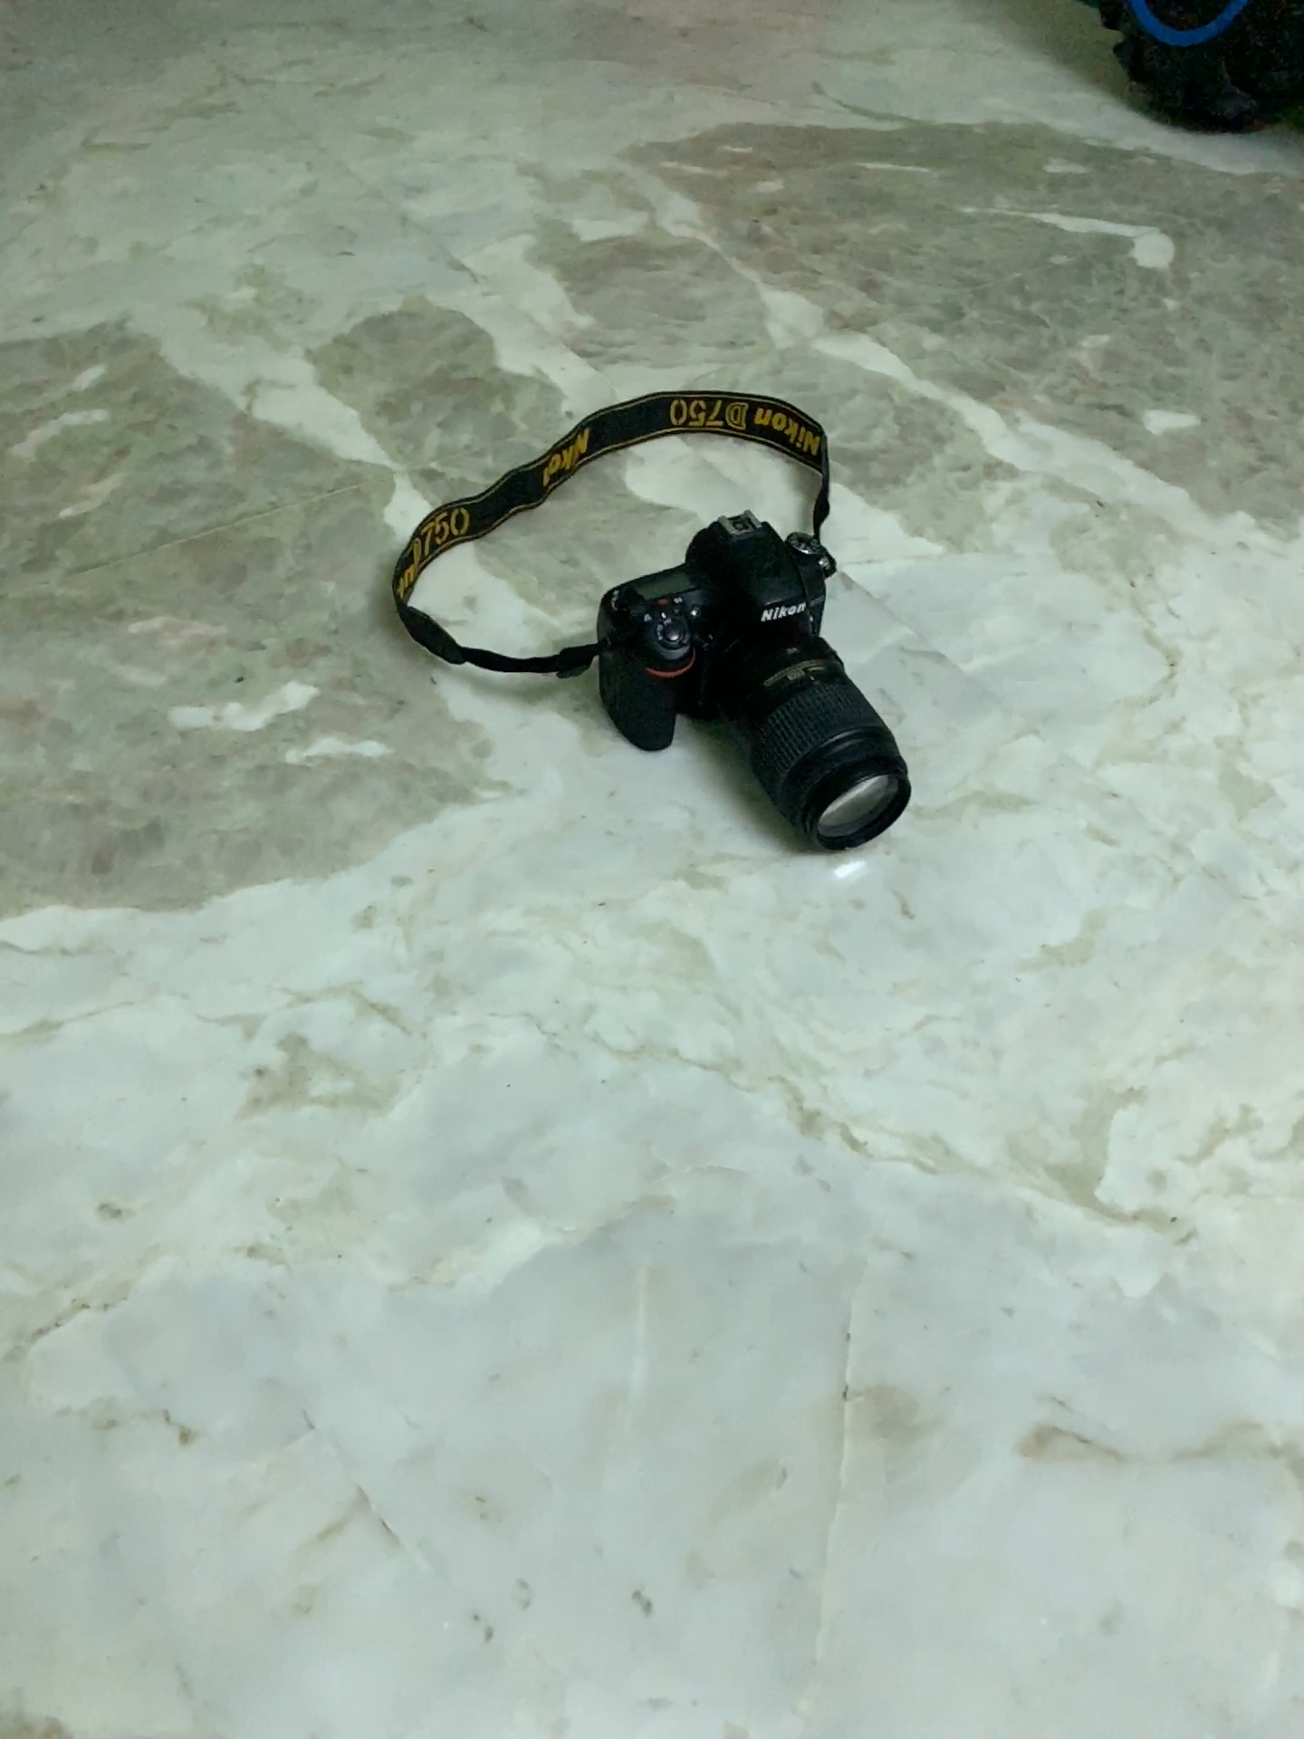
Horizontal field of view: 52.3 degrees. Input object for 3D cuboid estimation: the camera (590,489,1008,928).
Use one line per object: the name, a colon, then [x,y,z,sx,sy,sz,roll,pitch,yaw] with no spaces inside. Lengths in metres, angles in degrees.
camera: [0.072,-0.099,0.767,0.150,0.120,0.201,-18,52,-17]
